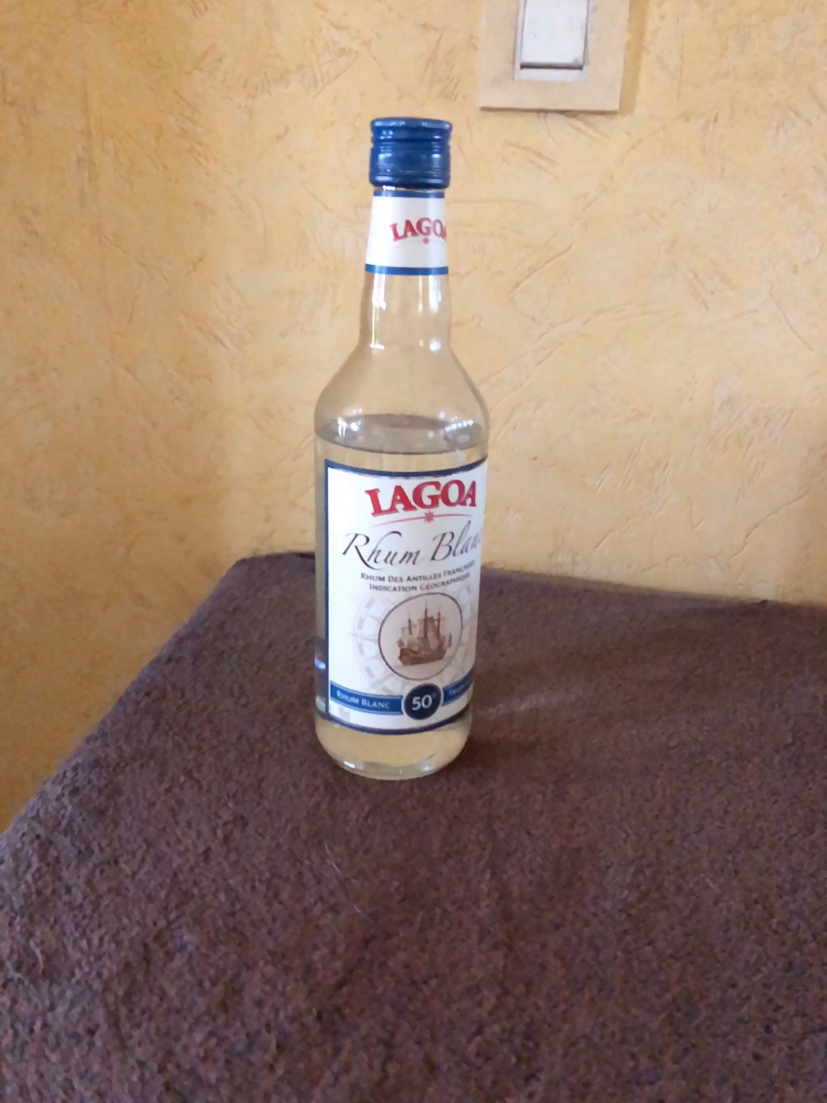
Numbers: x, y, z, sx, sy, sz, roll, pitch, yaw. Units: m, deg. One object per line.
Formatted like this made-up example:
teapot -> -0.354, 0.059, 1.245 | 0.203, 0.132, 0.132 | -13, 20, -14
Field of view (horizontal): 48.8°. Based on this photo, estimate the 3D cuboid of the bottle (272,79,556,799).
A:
bottle -> -0.007, -0.041, 0.381 | 0.080, 0.269, 0.080 | 1, 21, -1
